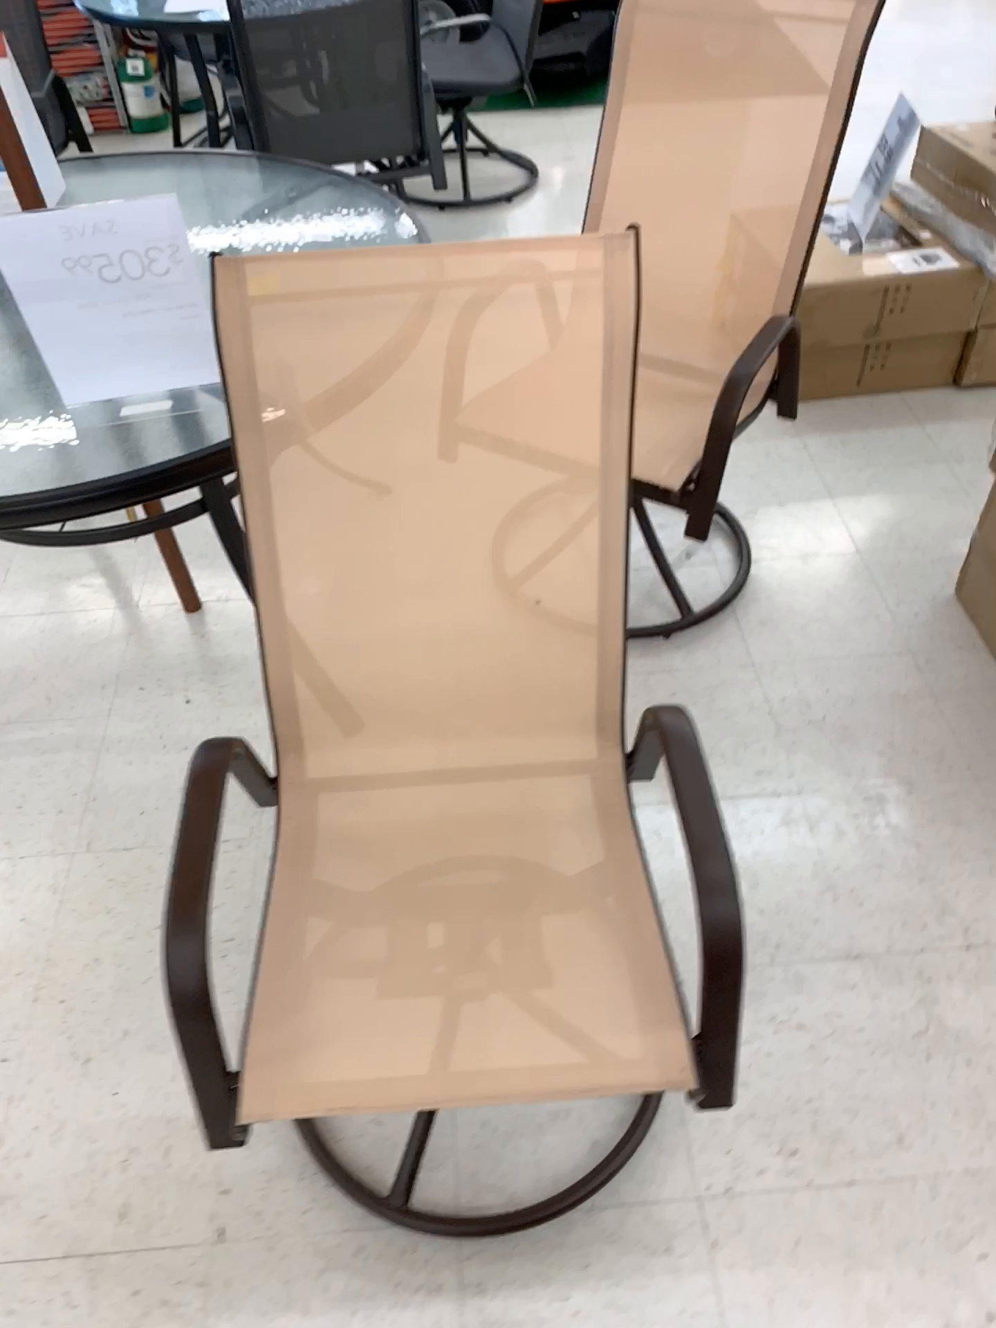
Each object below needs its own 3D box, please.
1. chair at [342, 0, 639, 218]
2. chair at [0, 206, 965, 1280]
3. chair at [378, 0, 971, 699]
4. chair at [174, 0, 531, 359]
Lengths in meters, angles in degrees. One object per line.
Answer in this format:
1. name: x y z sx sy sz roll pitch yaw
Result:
1. chair: -0.031 -1.901 2.955 0.707 0.917 0.571 -6 45 -4
2. chair: -0.037 0.132 1.142 0.568 0.957 0.710 -4 45 -2
3. chair: 0.289 -0.596 1.826 0.570 0.957 0.708 29 53 27
4. chair: -0.334 -1.410 2.557 0.568 0.917 0.710 -20 48 -16
